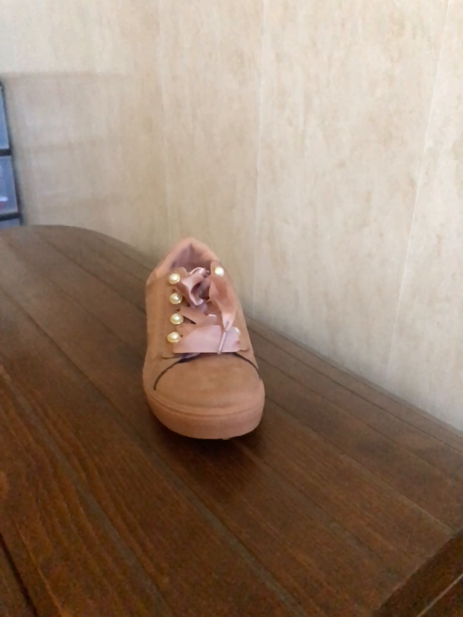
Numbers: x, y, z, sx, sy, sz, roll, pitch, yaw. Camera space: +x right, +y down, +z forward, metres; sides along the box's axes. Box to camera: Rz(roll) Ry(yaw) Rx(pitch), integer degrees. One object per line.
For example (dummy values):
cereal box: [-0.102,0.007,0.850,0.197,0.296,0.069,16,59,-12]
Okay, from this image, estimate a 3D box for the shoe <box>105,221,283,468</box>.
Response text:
shoe: [-0.044,0.005,0.460,0.110,0.090,0.281,-3,25,-8]
